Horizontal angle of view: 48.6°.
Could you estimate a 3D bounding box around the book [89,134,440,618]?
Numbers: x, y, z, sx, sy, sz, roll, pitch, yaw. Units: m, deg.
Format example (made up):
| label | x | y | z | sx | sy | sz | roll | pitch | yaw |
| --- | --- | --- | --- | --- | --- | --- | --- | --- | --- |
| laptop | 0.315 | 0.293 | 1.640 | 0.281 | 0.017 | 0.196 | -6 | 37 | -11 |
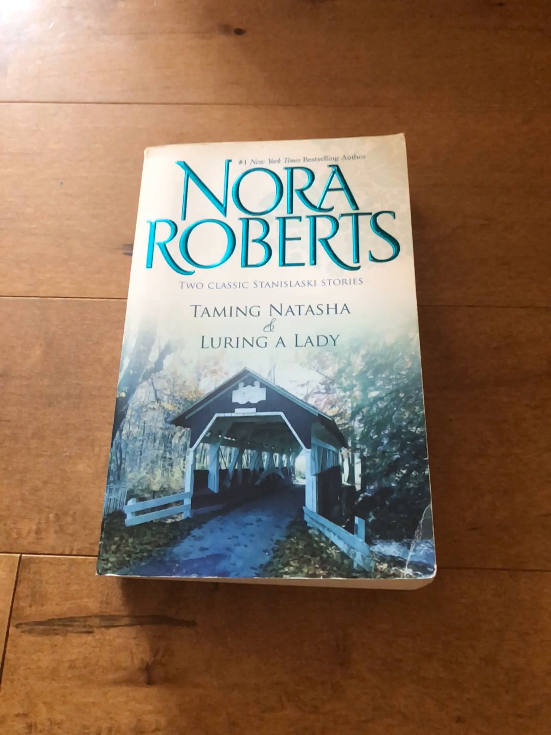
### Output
| label | x | y | z | sx | sy | sz | roll | pitch | yaw |
| --- | --- | --- | --- | --- | --- | --- | --- | --- | --- |
| book | -0.002 | -0.005 | 0.283 | 0.130 | 0.040 | 0.220 | 0 | 70 | 2 |
